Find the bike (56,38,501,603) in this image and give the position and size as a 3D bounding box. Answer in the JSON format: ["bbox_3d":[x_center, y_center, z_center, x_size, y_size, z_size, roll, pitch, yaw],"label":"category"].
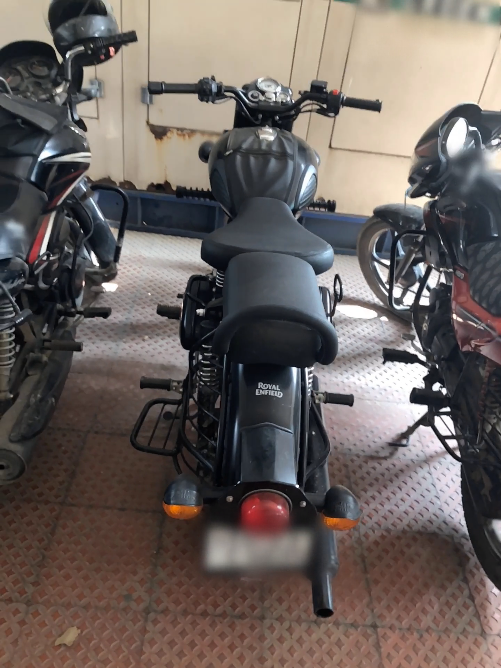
[{"bbox_3d":[-0.033,-0.236,1.766,0.709,0.919,1.695,4,37,-6],"label":"bike"}]
